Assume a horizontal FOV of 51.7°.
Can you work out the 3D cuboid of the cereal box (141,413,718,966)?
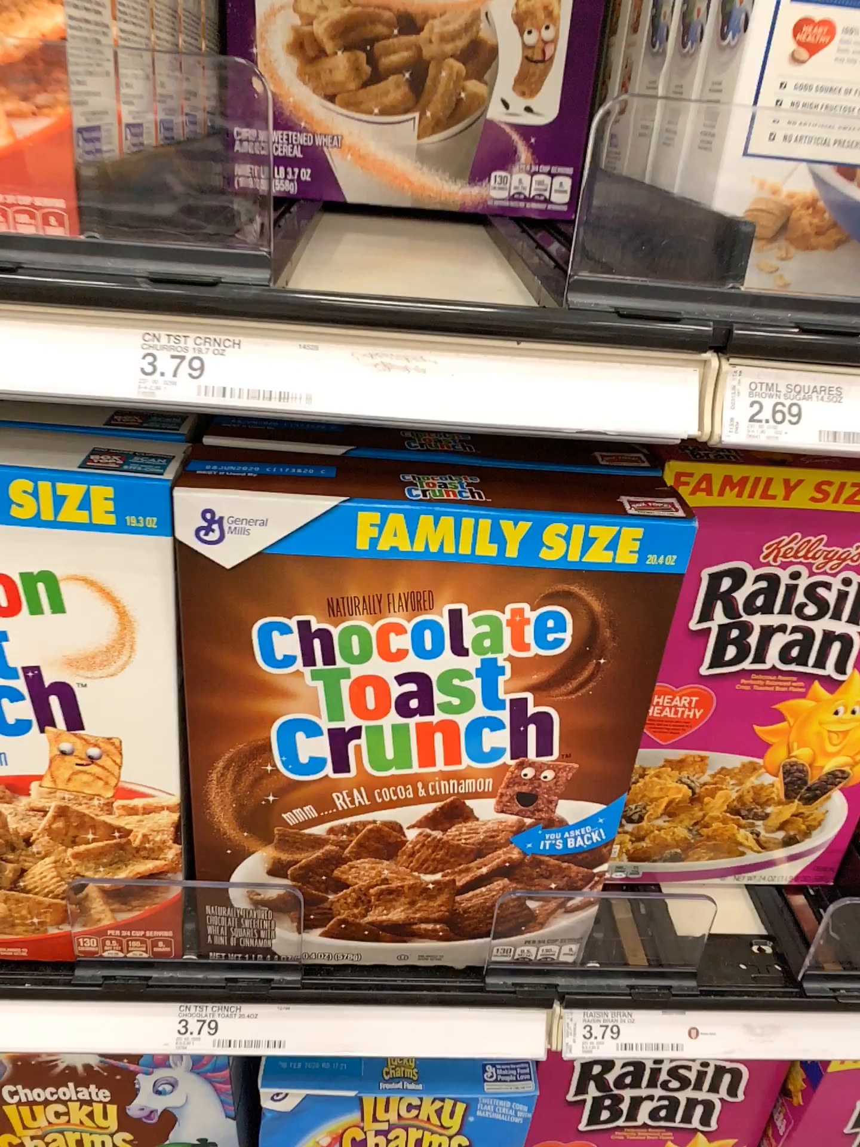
[{"bbox_3d":[-0.011,0.080,0.469,0.240,0.308,0.060,3,30,-5],"label":"cereal box"}]
